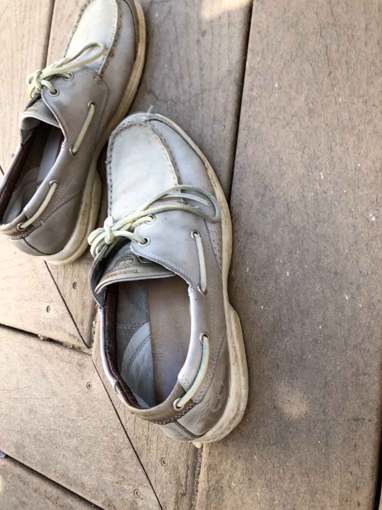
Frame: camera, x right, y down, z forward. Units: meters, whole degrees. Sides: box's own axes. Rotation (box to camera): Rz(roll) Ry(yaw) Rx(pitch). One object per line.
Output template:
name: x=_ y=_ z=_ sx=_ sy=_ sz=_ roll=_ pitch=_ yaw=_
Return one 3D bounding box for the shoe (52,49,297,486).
shoe: x=-0.021 y=0.010 z=0.364 sx=0.120 sy=0.109 sz=0.310 roll=-19 pitch=72 yaw=29

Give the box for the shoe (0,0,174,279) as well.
shoe: x=-0.129 y=-0.145 z=0.454 sx=0.117 sy=0.099 sz=0.314 roll=13 pitch=89 yaw=33
